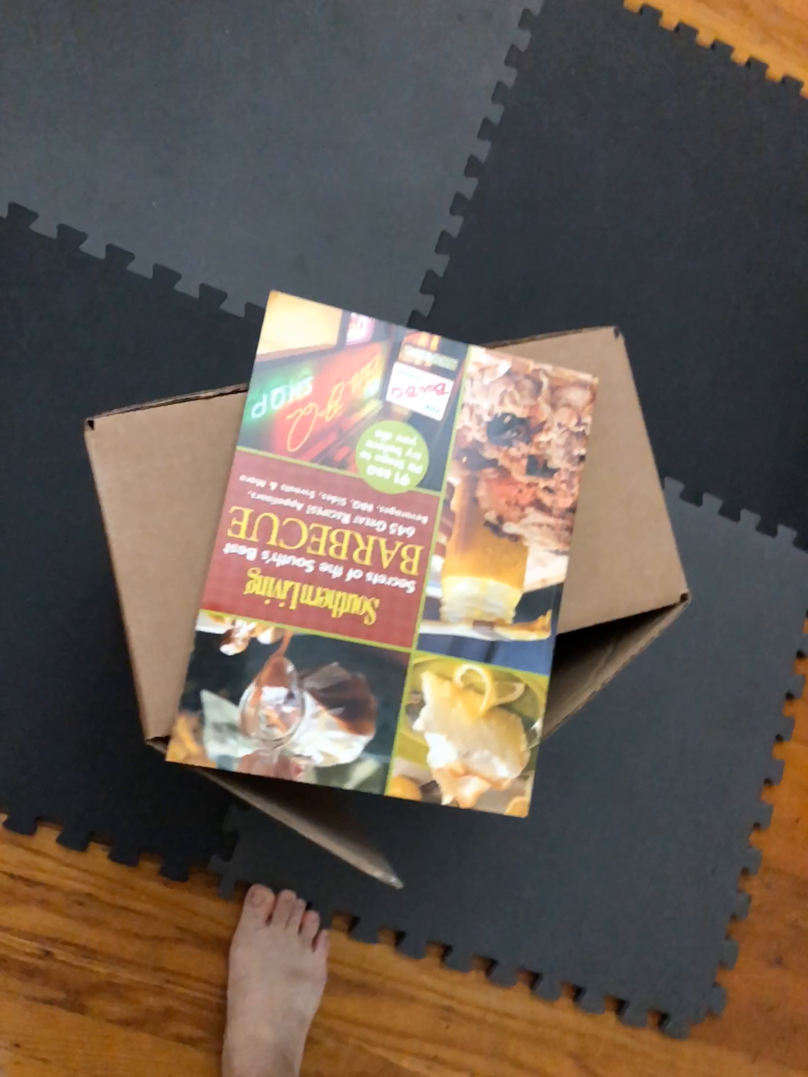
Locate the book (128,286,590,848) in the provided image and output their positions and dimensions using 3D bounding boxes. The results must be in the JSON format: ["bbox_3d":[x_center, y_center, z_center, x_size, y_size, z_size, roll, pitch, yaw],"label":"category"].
[{"bbox_3d":[-0.017,0.017,0.529,0.220,0.020,0.290,12,80,-10],"label":"book"}]
